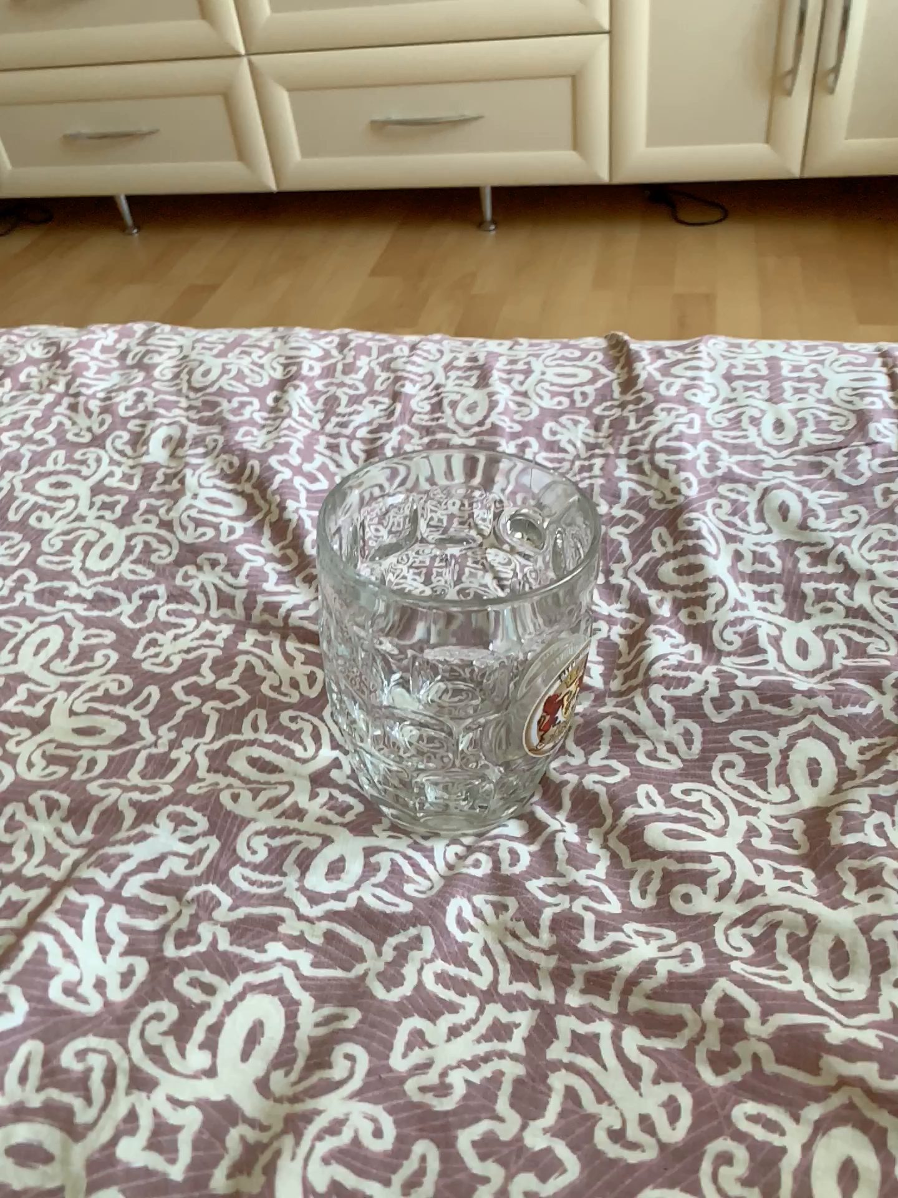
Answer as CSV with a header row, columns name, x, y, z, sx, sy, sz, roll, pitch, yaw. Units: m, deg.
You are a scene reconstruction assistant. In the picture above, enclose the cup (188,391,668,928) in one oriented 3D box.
name,x,y,z,sx,sy,sz,roll,pitch,yaw
cup,-0.001,0.012,0.301,0.093,0.099,0.118,21,43,23
